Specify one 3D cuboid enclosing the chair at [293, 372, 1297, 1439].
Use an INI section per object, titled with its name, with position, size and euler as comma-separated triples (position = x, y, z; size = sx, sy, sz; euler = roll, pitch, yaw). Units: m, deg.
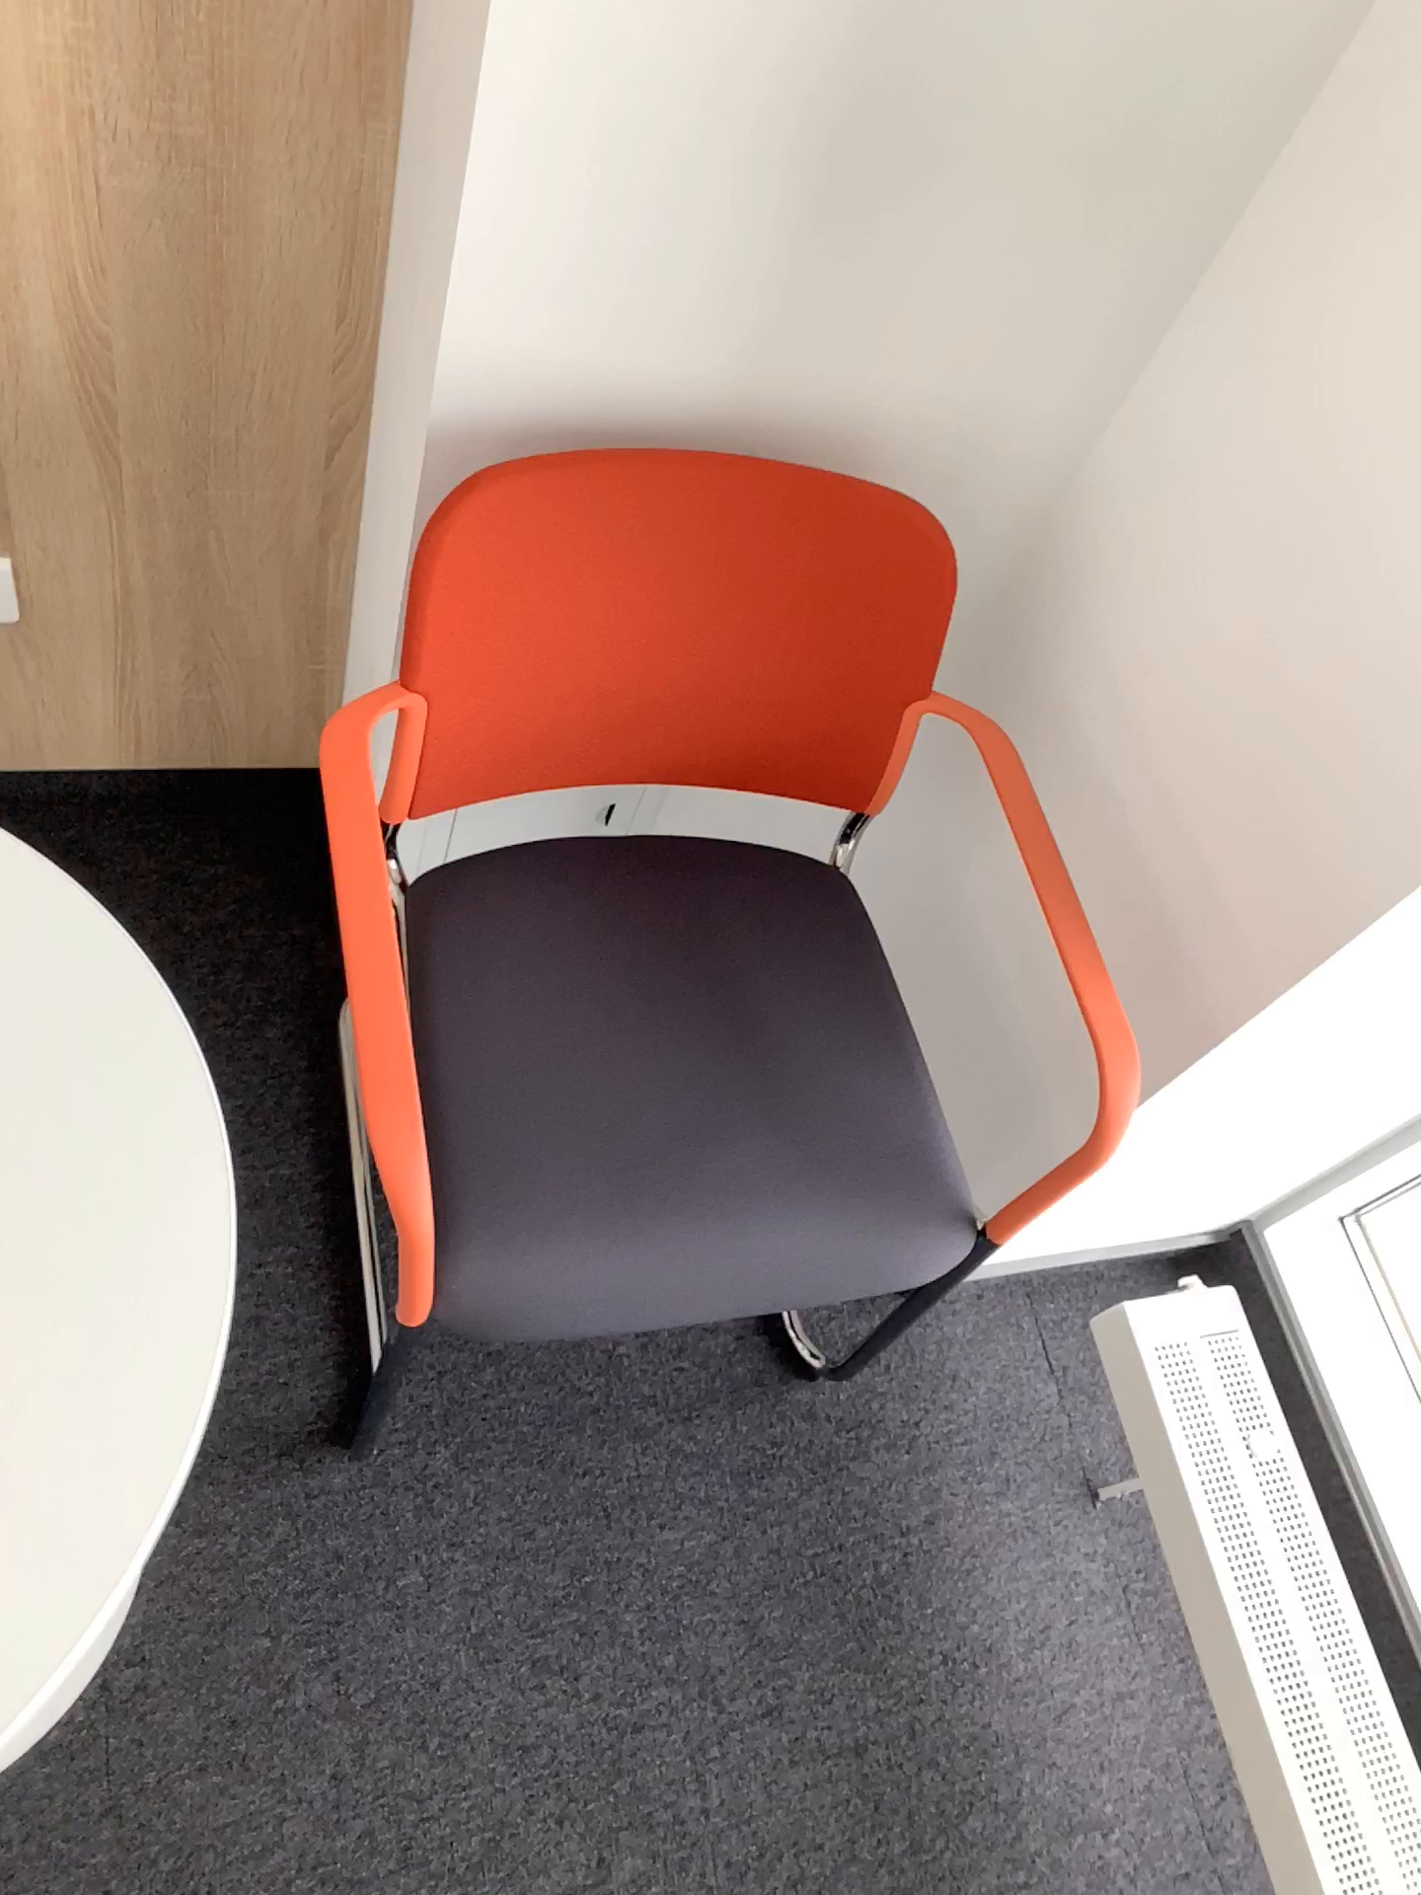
[chair]
position = -0.048, 0.028, 1.293
size = 0.571, 0.777, 0.561
euler = -2, 61, -19
